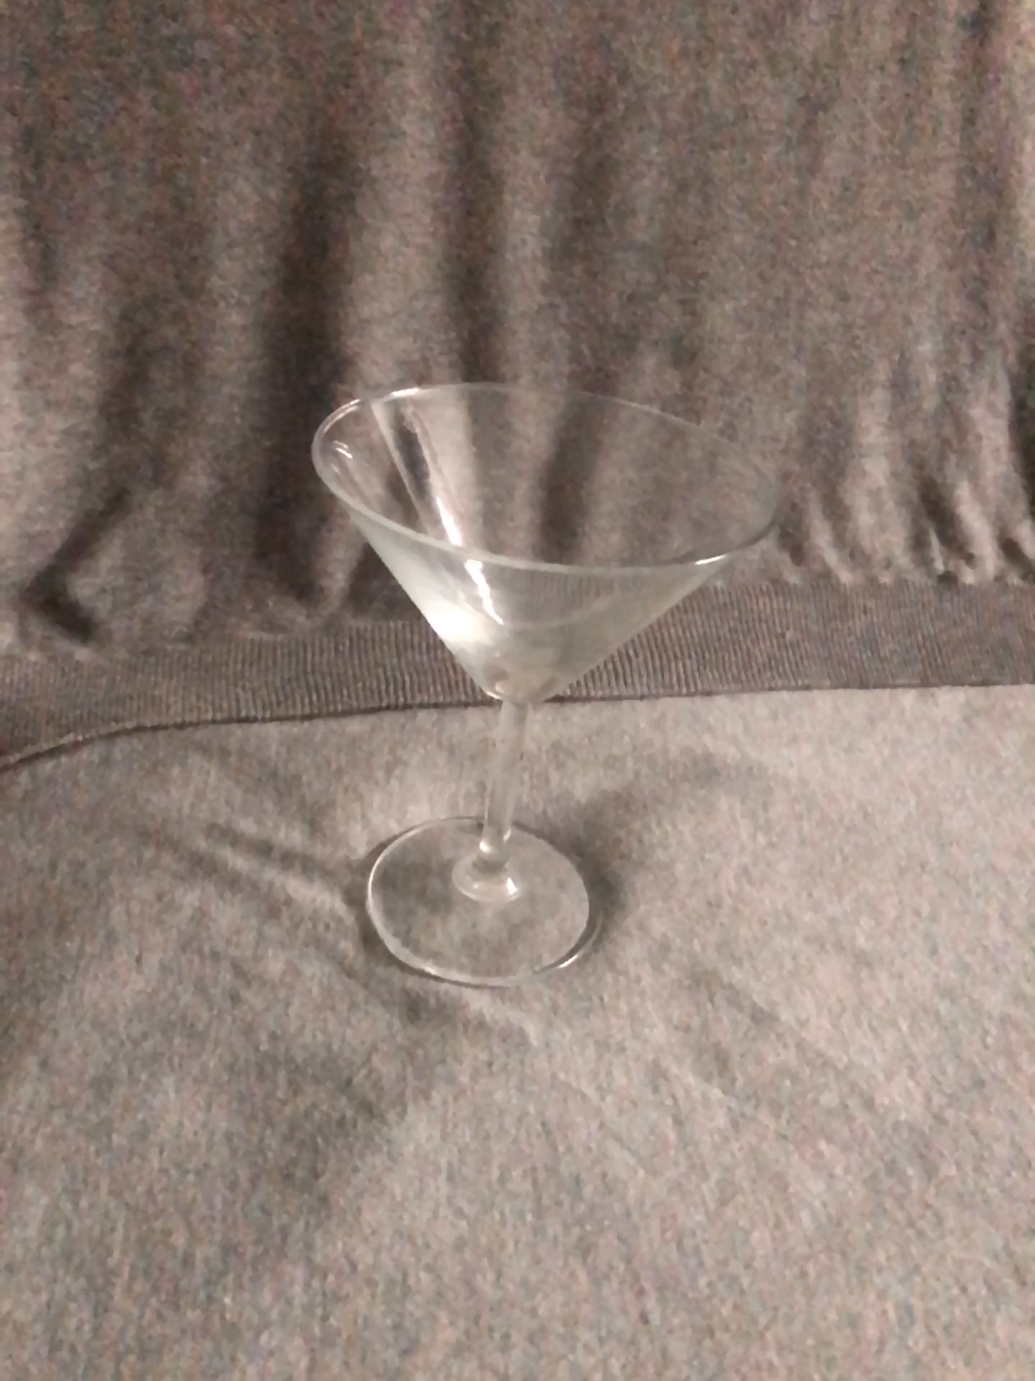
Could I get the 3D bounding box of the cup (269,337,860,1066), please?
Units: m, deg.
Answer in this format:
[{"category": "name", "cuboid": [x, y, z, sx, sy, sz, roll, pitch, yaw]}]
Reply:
[{"category": "cup", "cuboid": [-0.006, 0.005, 0.316, 0.113, 0.157, 0.112, 8, 34, -6]}]
